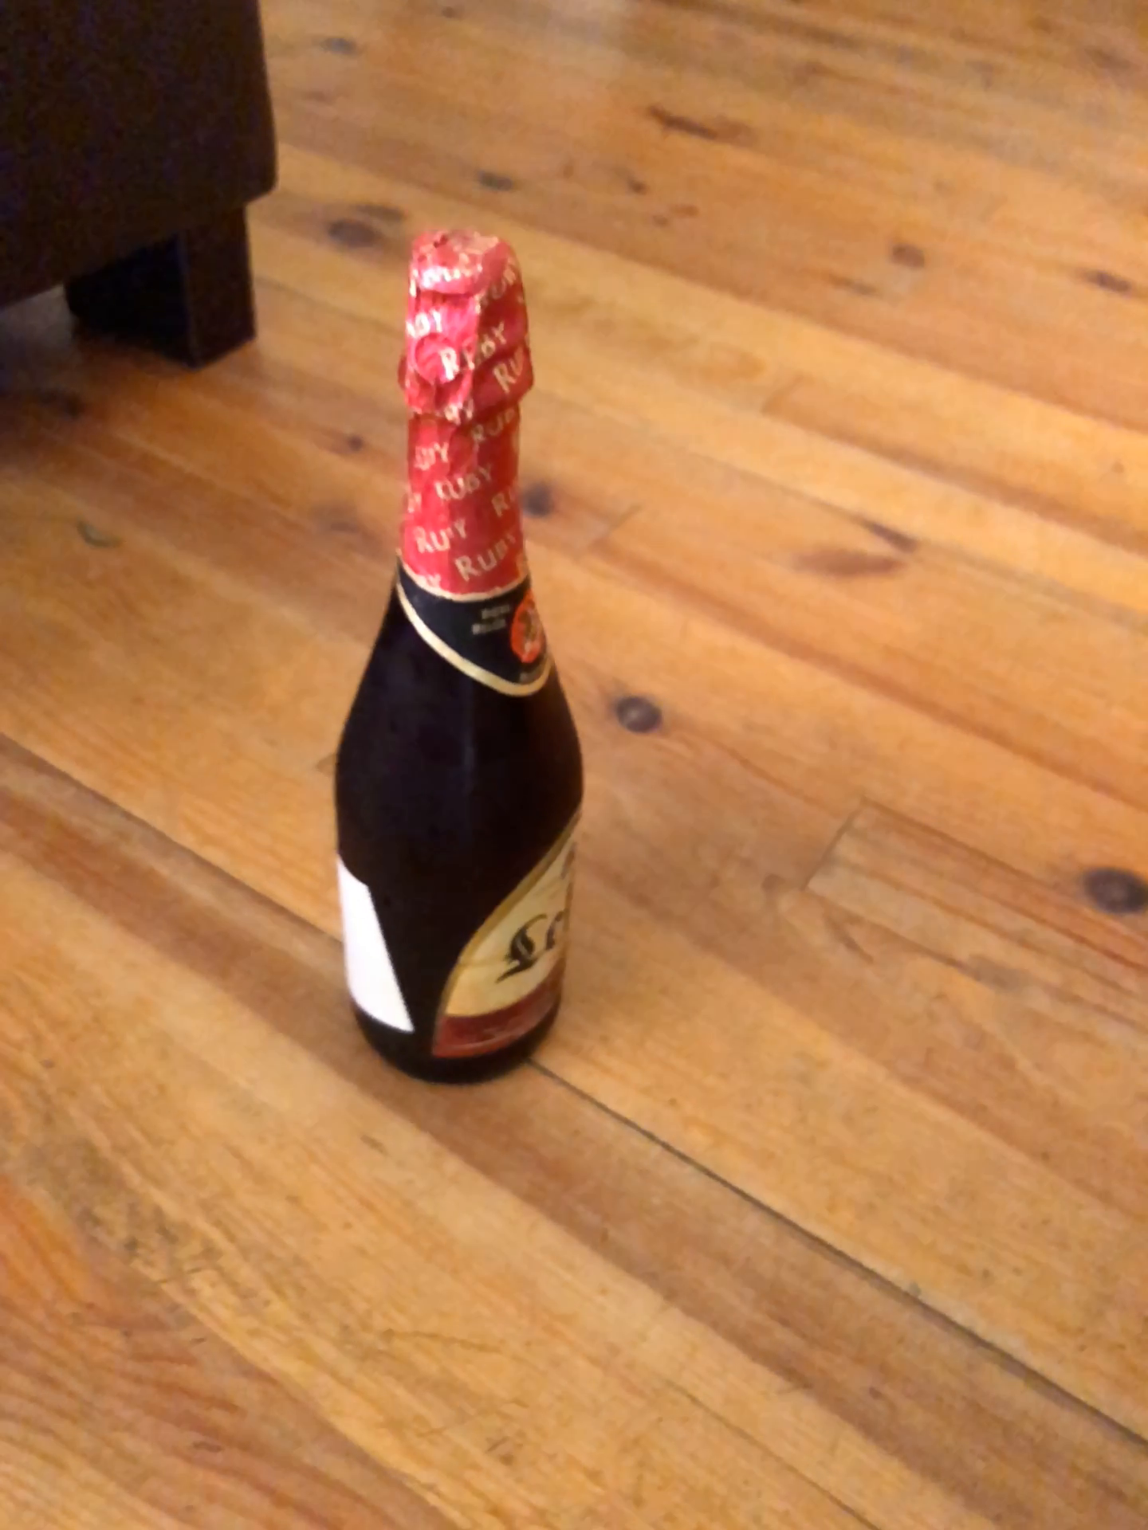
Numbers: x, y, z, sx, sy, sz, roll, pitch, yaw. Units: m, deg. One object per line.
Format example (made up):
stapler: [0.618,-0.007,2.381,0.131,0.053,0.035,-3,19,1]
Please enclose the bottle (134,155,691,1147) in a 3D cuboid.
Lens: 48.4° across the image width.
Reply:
bottle: [-0.042,-0.012,0.389,0.090,0.288,0.091,3,45,-3]
